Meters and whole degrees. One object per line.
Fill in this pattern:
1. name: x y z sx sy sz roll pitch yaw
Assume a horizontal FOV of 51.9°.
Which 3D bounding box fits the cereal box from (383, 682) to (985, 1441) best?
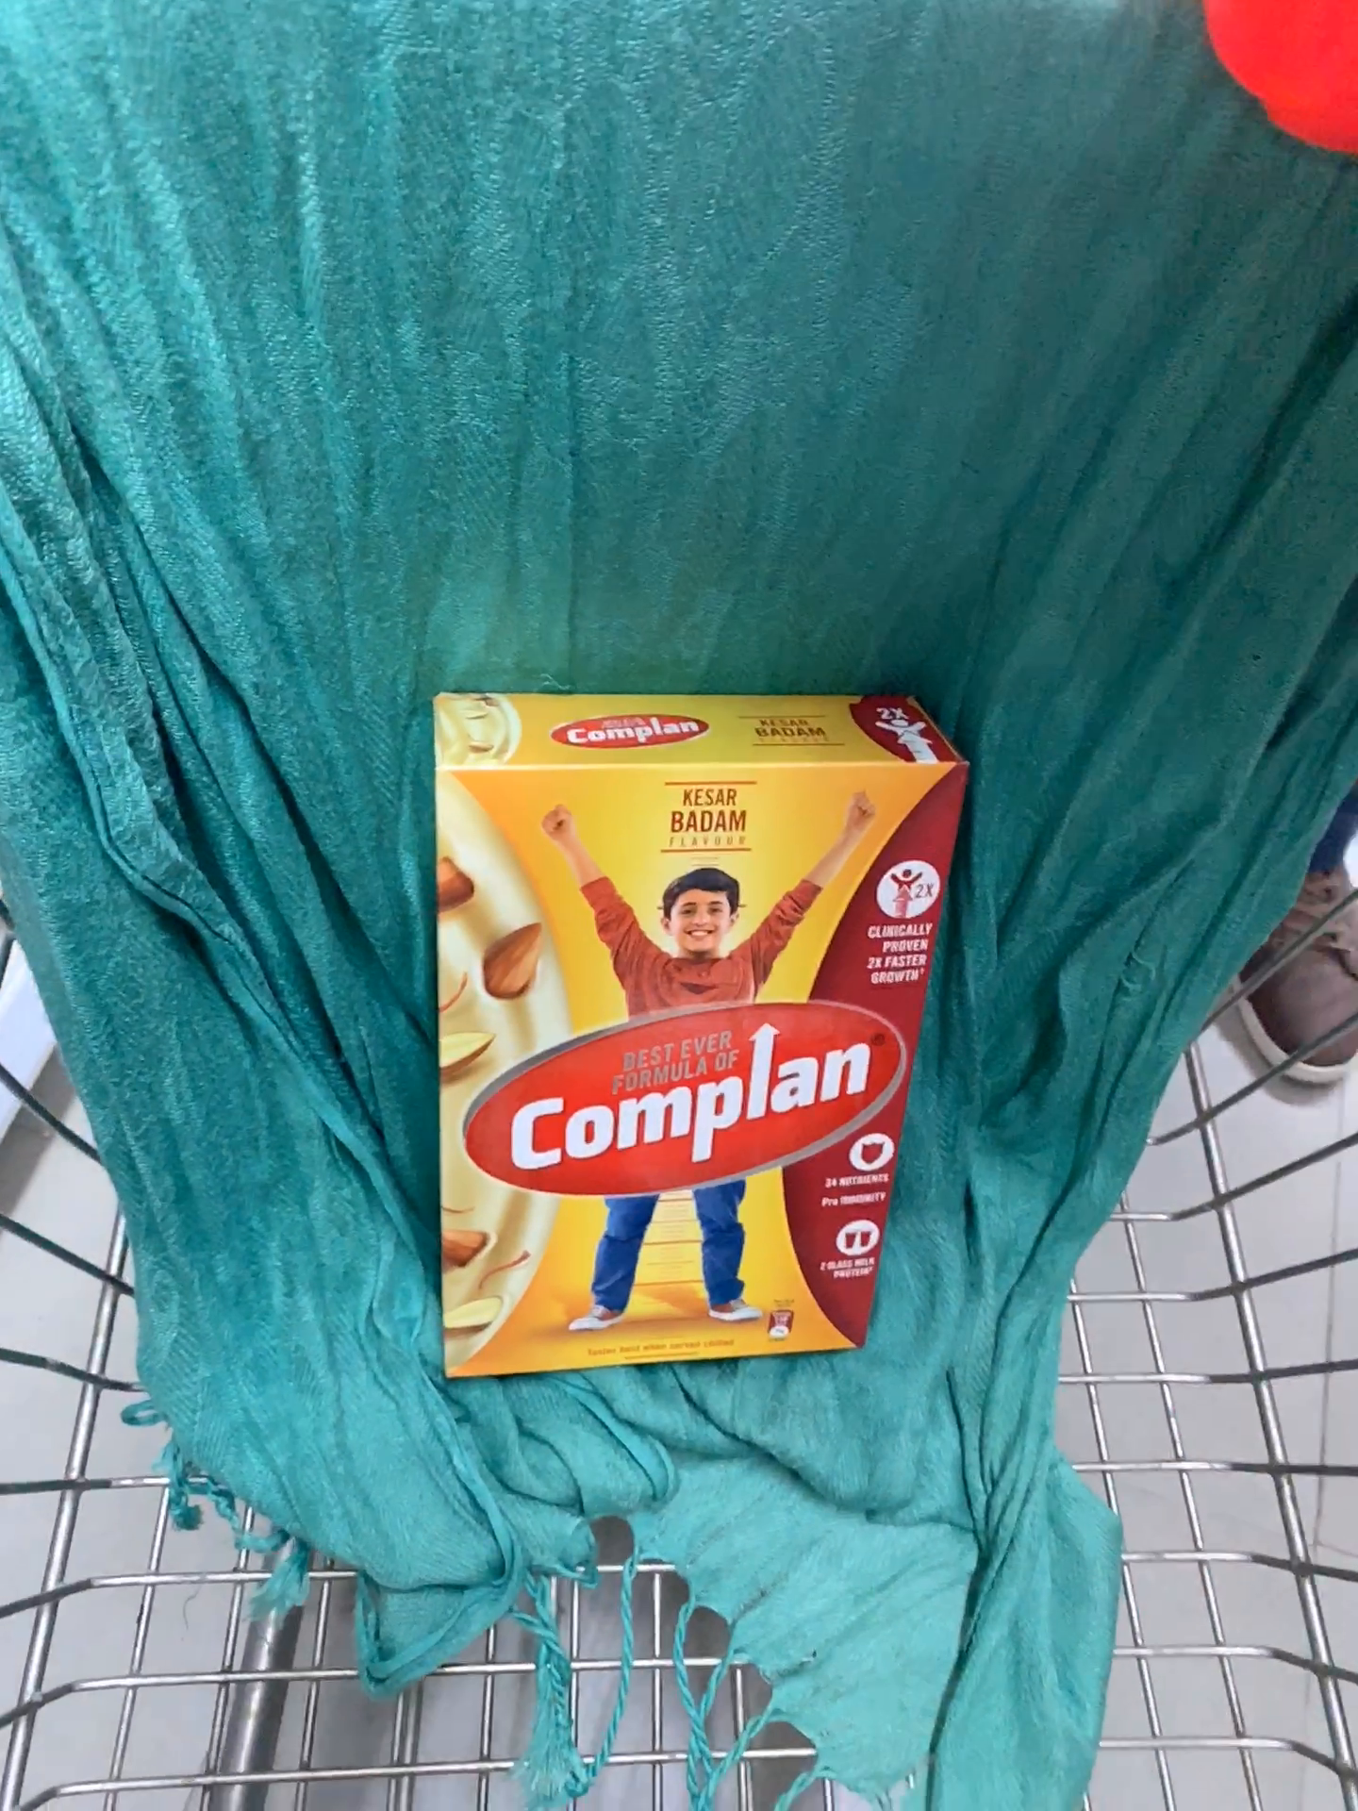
1. cereal box: -0.003 0.044 0.387 0.140 0.200 0.060 -1 23 -7
